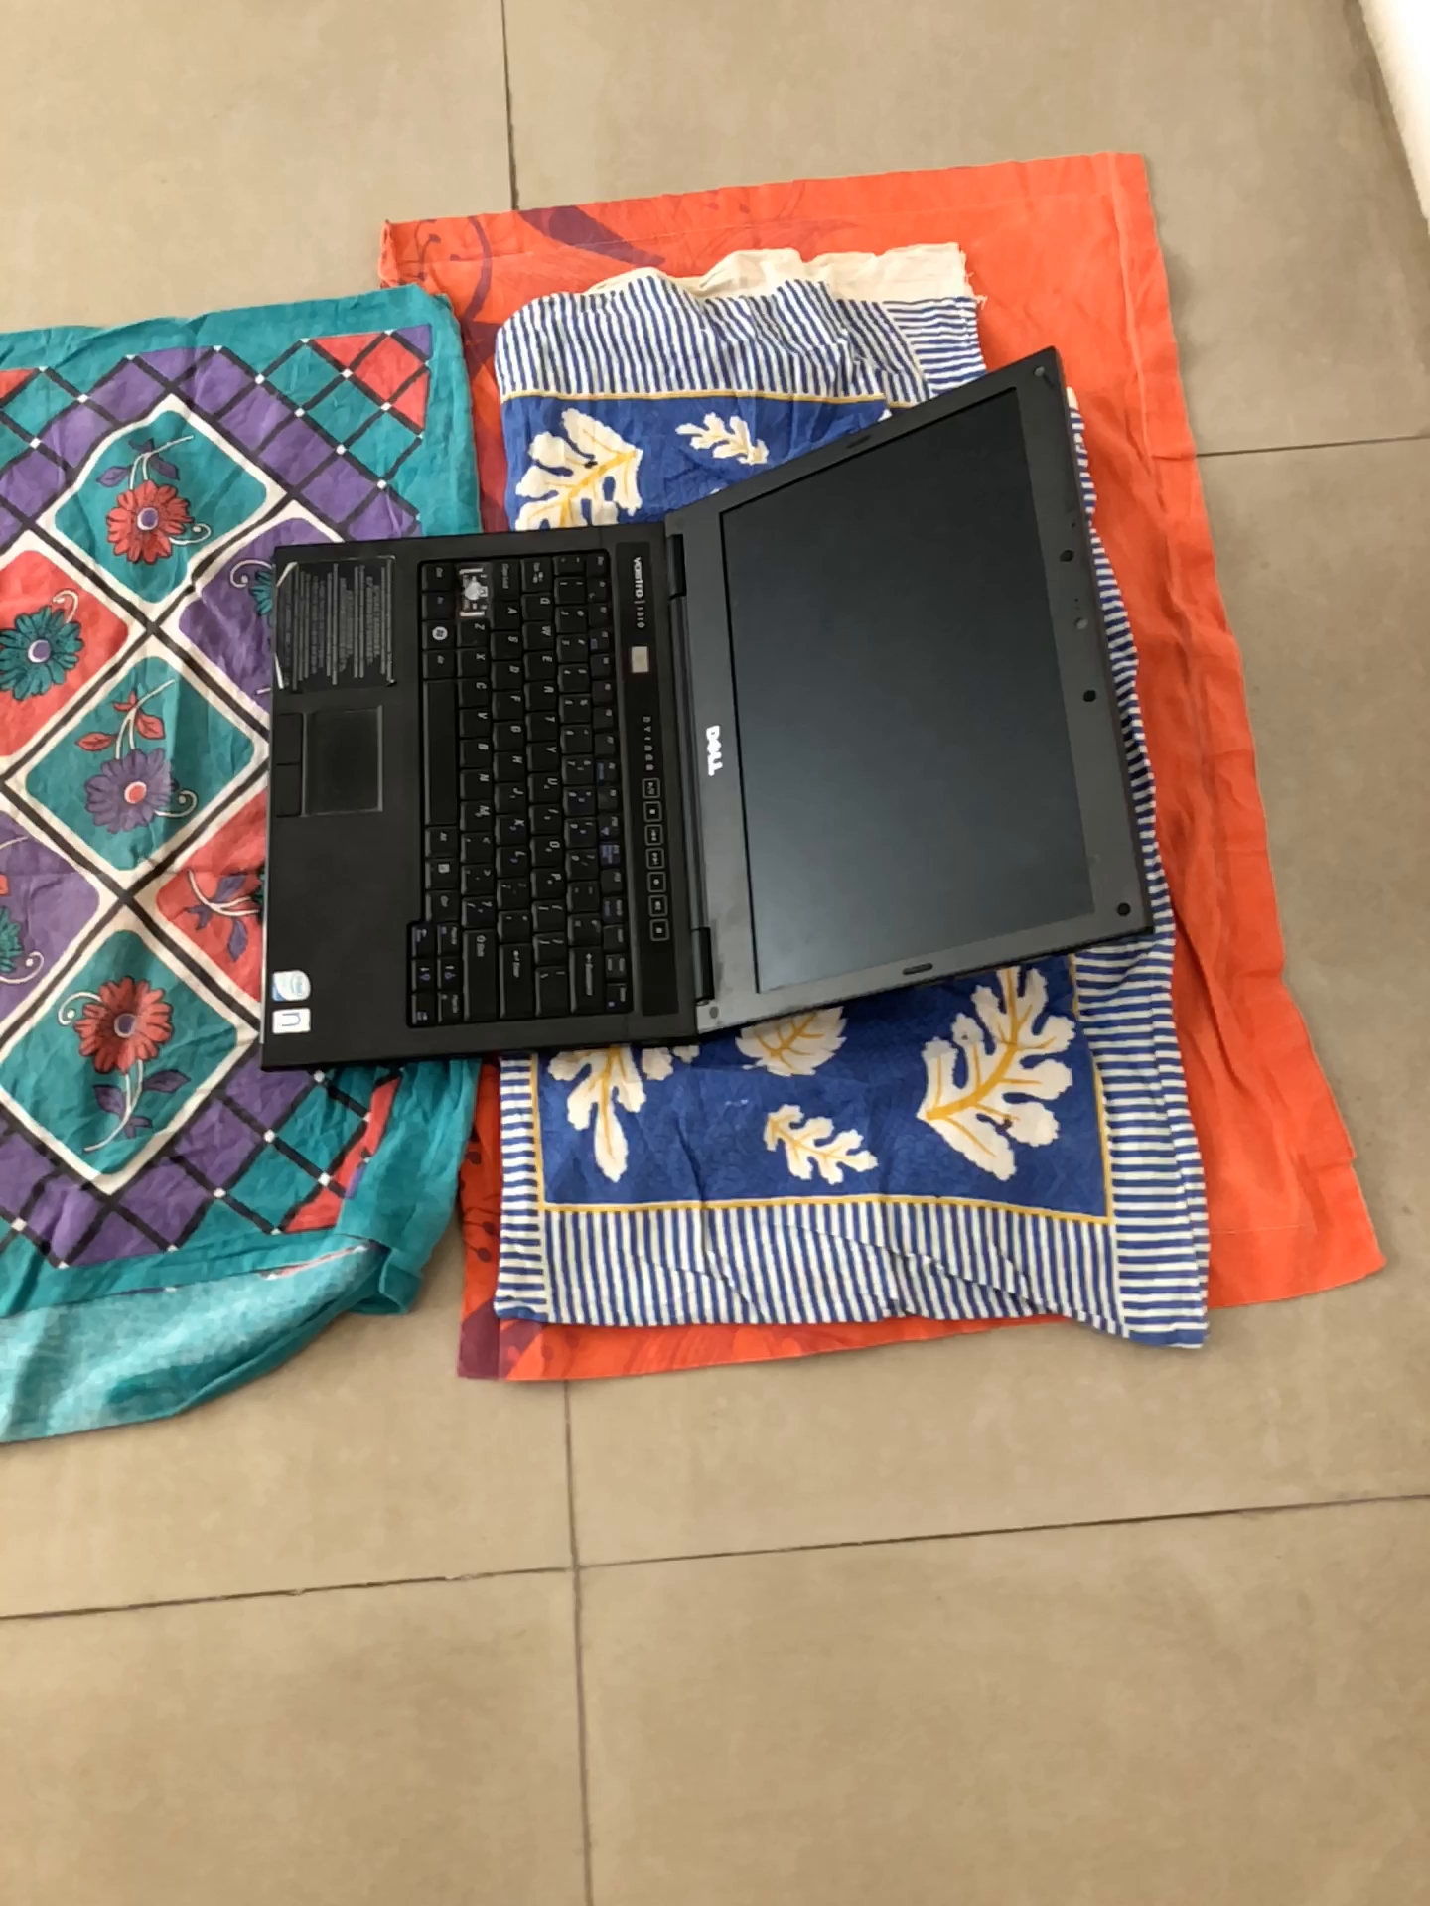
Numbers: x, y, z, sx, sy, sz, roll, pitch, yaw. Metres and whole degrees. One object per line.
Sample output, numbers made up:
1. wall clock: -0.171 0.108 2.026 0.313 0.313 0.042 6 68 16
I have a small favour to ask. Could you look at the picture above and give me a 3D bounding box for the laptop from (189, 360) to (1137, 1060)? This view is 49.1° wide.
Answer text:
1. laptop: -0.031 -0.124 0.801 0.419 0.125 0.306 -4 71 -2
